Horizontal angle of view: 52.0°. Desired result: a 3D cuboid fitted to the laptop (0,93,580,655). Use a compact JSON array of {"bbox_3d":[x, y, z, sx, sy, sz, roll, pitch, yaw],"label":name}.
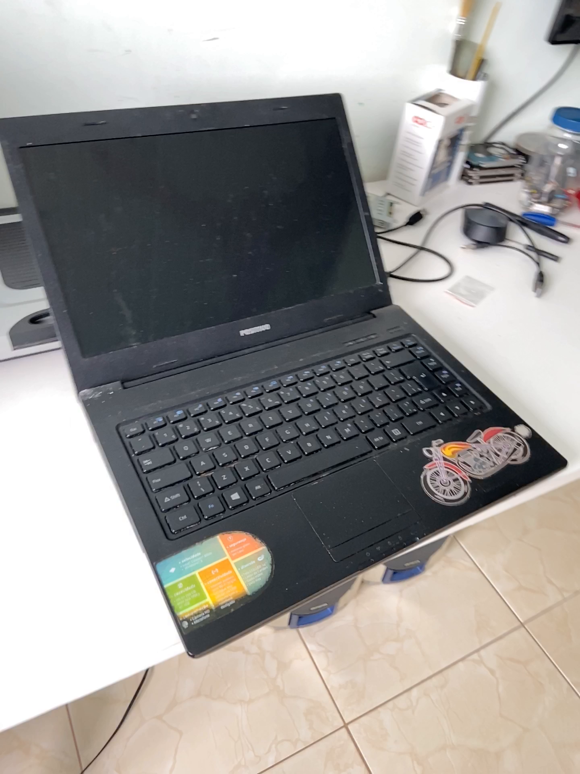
[{"bbox_3d":[-0.005,-0.074,0.480,0.335,0.162,0.394,-18,49,-25],"label":"laptop"}]
